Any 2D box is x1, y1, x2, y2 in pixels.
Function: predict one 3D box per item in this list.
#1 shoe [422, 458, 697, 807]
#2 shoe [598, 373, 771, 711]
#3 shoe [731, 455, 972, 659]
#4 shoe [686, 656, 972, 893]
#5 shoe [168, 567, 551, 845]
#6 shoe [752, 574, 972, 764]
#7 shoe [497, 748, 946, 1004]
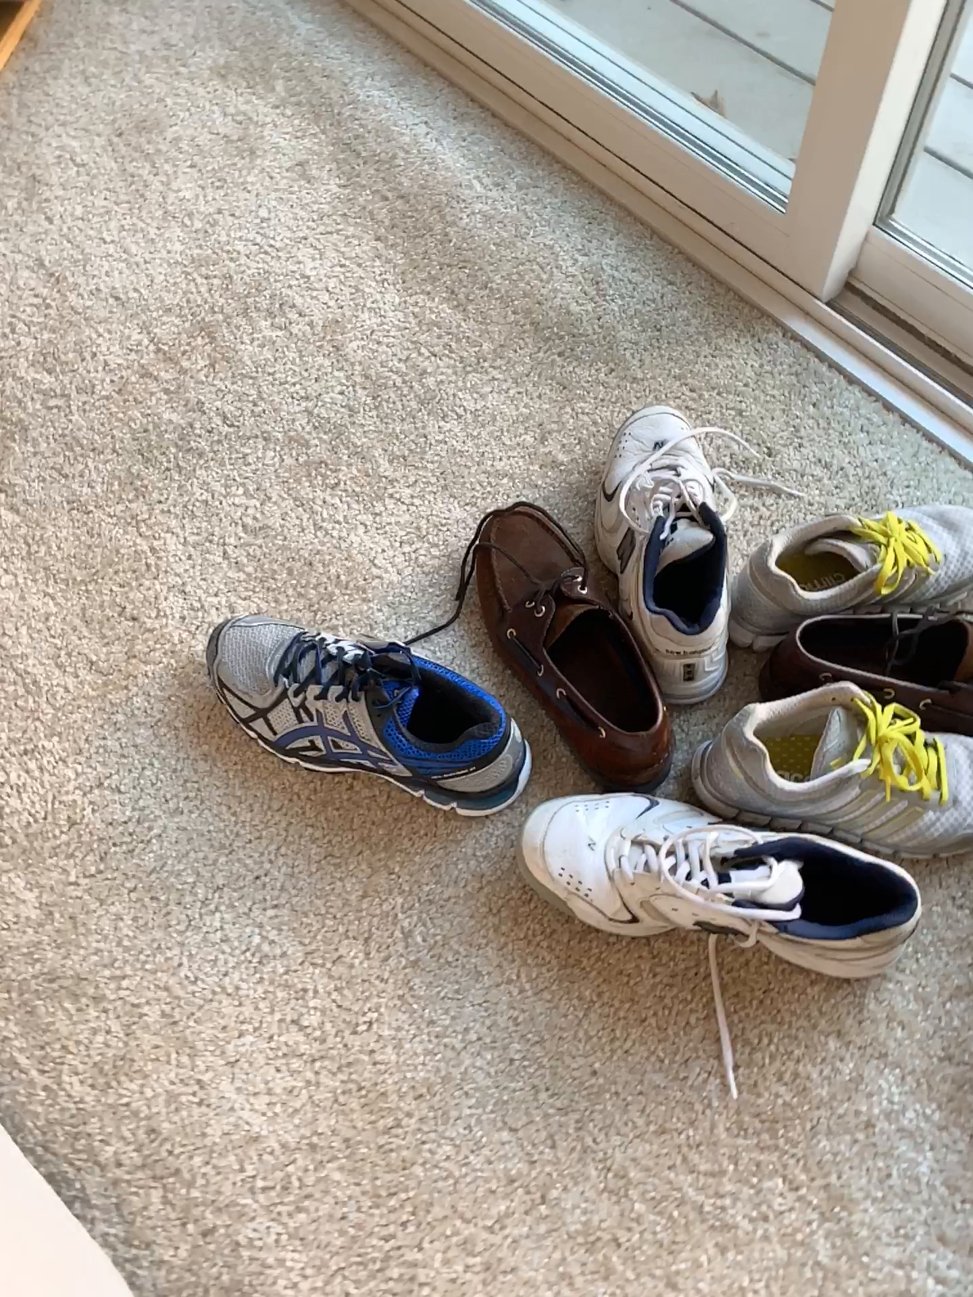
[{"bbox_3d":[0.055,-0.018,0.851,0.100,0.110,0.271,-26,62,-11],"label":"shoe"},{"bbox_3d":[0.159,-0.094,0.847,0.100,0.110,0.271,-3,60,2],"label":"shoe"},{"bbox_3d":[0.333,-0.076,0.811,0.230,0.060,0.100,-14,61,-6],"label":"shoe"},{"bbox_3d":[0.270,0.088,0.688,0.240,0.090,0.100,9,62,7],"label":"shoe"},{"bbox_3d":[-0.095,0.043,0.786,0.270,0.090,0.110,19,64,15],"label":"shoe"},{"bbox_3d":[0.360,0.016,0.779,0.280,0.080,0.100,5,62,5],"label":"shoe"},{"bbox_3d":[0.157,0.161,0.699,0.280,0.110,0.090,11,62,10],"label":"shoe"}]
